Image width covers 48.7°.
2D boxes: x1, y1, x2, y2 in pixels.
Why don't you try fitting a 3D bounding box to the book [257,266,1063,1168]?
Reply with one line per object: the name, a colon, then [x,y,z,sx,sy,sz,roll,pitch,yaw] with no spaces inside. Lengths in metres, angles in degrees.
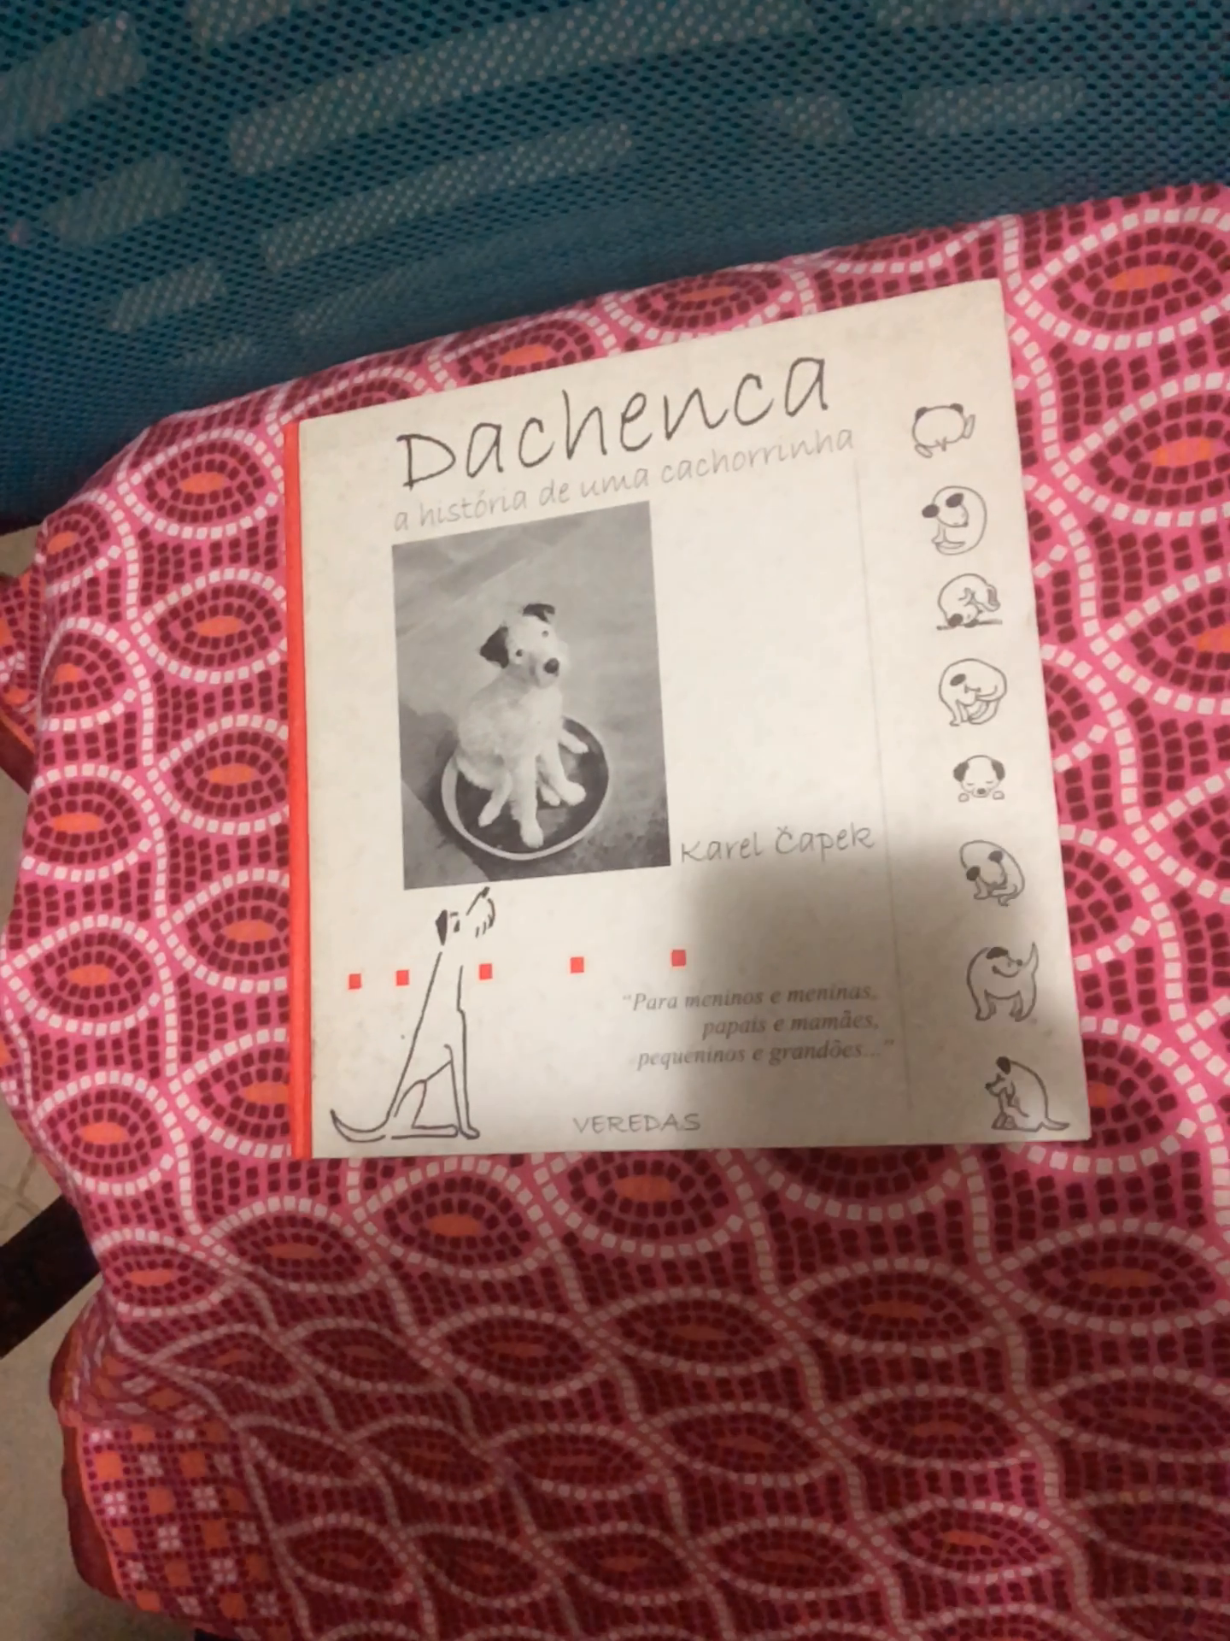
book: [0.001,-0.021,0.365,0.205,0.027,0.216,-6,79,17]
